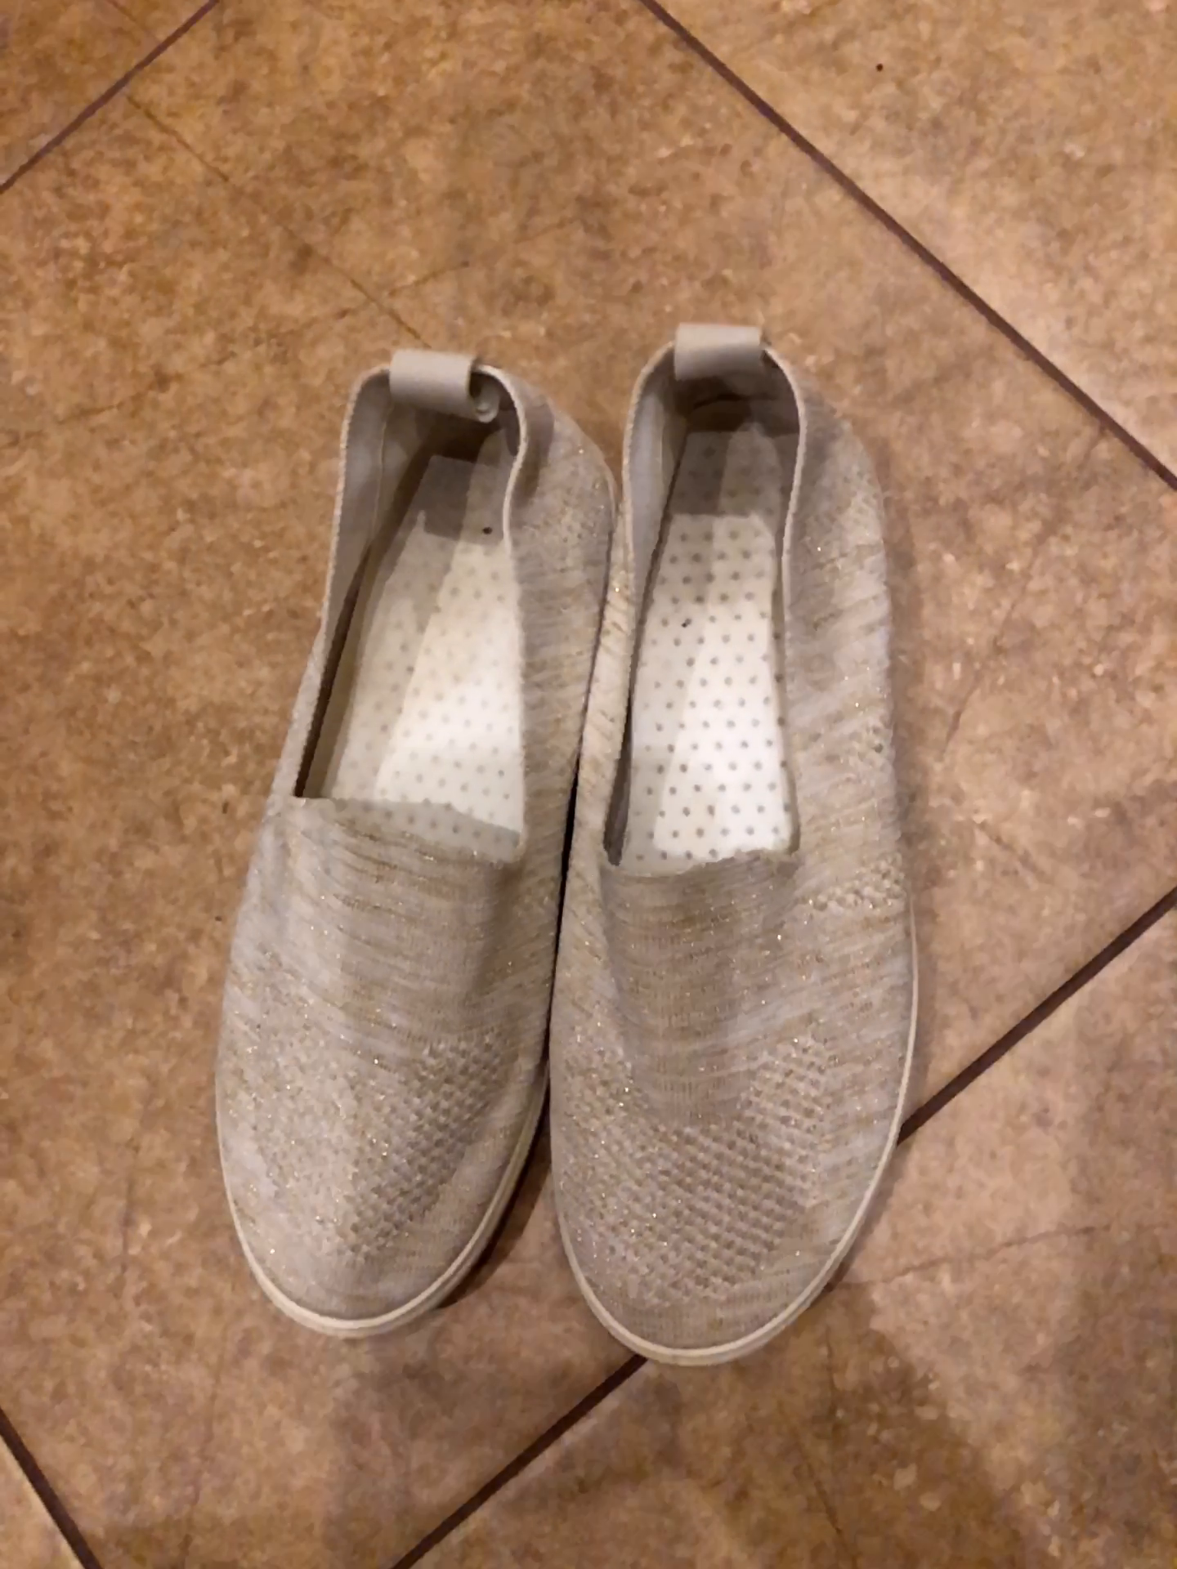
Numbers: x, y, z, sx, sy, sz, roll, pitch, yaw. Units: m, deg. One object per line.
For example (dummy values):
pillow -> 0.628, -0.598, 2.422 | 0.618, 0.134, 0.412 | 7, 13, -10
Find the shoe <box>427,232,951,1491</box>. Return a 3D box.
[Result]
shoe -> 0.031, 0.011, 0.316 | 0.100, 0.080, 0.260 | 1, 80, 11

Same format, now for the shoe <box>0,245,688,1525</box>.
shoe -> -0.047, 0.014, 0.305 | 0.090, 0.080, 0.250 | 9, 81, 12
